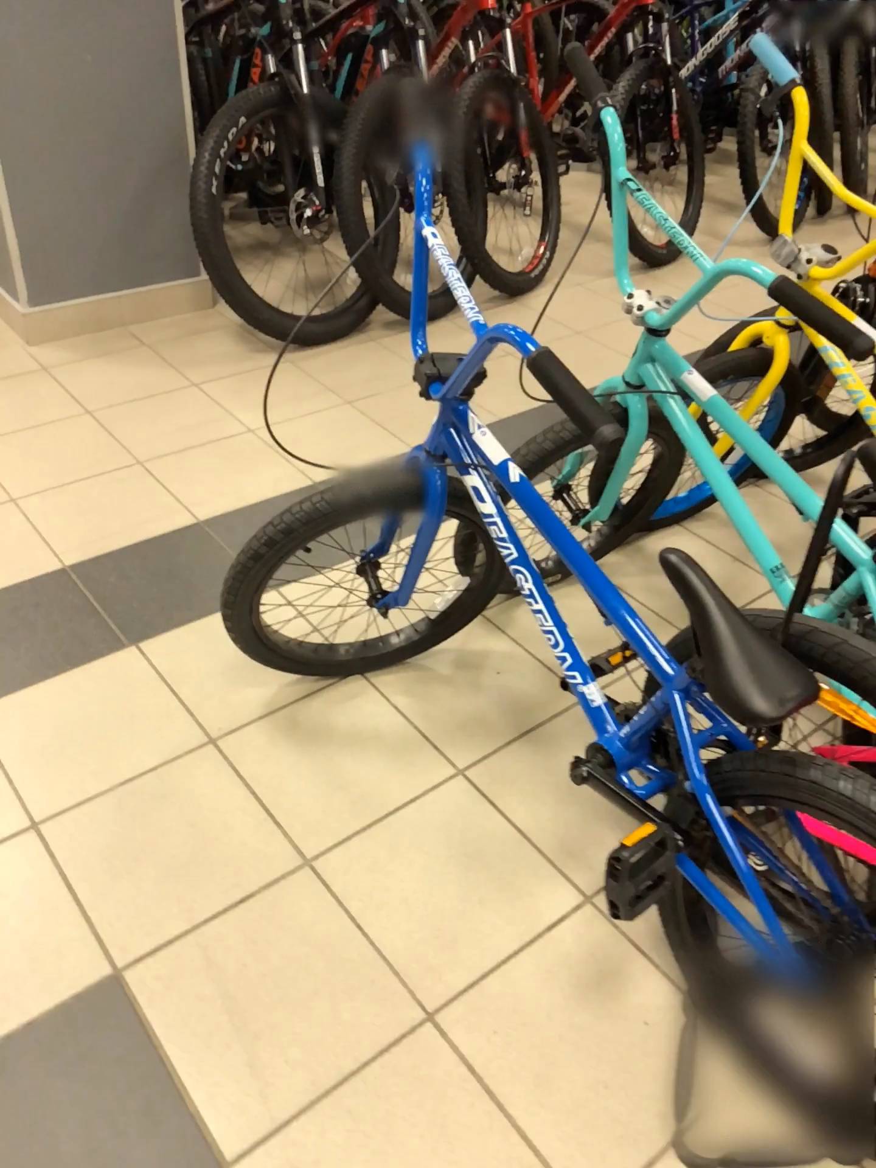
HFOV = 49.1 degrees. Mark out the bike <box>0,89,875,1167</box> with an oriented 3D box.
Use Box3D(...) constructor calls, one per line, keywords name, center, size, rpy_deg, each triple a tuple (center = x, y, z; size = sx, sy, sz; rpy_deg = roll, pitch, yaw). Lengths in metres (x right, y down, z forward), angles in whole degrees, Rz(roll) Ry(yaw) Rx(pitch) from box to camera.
Box3D(name="bike", center=(0.185, 0.092, 1.138), size=(1.260, 0.961, 0.823), rpy_deg=(32, 45, 32))
